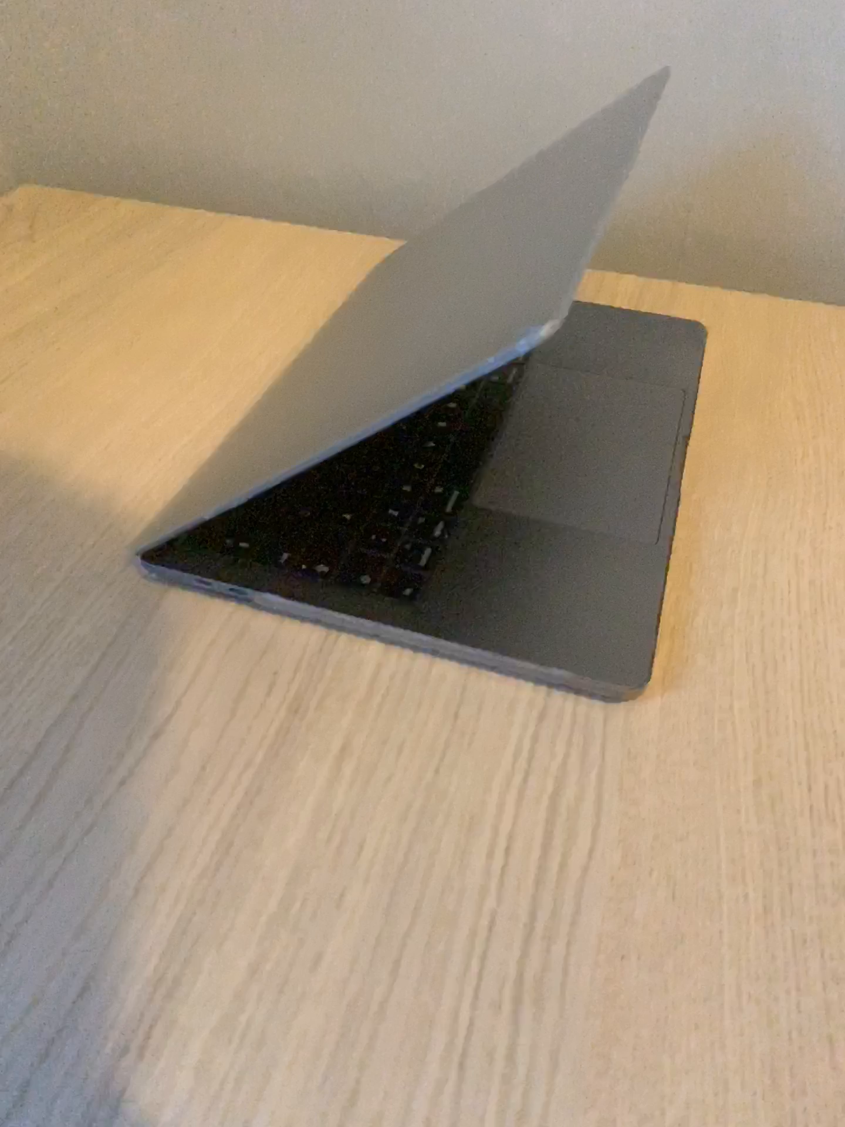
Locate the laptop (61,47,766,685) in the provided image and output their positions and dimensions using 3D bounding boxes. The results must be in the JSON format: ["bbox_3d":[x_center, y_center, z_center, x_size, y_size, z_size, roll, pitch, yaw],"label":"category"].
[{"bbox_3d":[0.028,-0.120,0.389,0.204,0.130,0.291,12,43,13],"label":"laptop"}]
